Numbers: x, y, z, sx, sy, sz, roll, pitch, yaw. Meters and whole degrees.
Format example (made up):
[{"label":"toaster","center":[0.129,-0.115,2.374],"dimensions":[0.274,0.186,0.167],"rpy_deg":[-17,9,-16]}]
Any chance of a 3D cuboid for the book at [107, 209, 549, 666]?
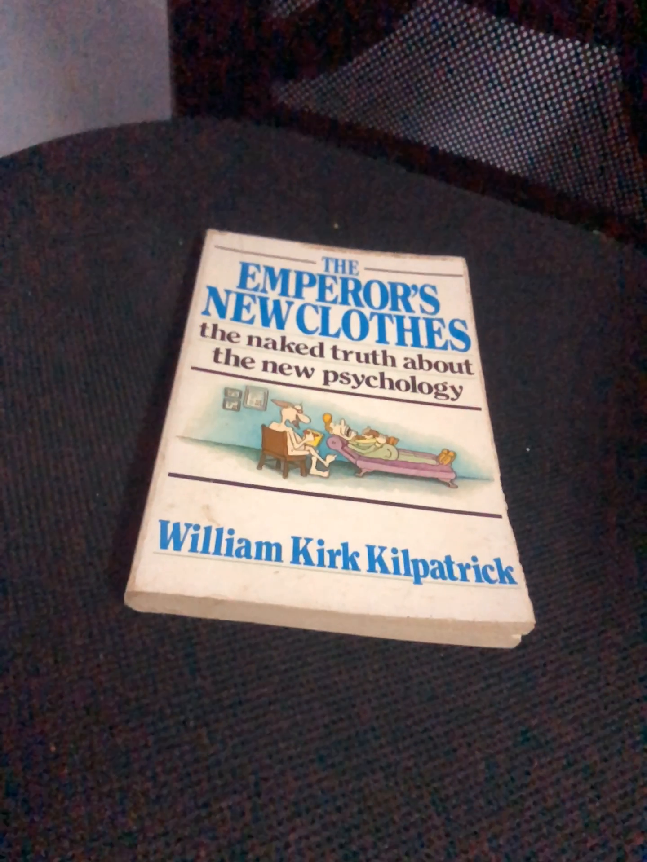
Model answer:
[{"label":"book","center":[0.006,-0.018,0.317],"dimensions":[0.144,0.020,0.231],"rpy_deg":[8,46,-6]}]
